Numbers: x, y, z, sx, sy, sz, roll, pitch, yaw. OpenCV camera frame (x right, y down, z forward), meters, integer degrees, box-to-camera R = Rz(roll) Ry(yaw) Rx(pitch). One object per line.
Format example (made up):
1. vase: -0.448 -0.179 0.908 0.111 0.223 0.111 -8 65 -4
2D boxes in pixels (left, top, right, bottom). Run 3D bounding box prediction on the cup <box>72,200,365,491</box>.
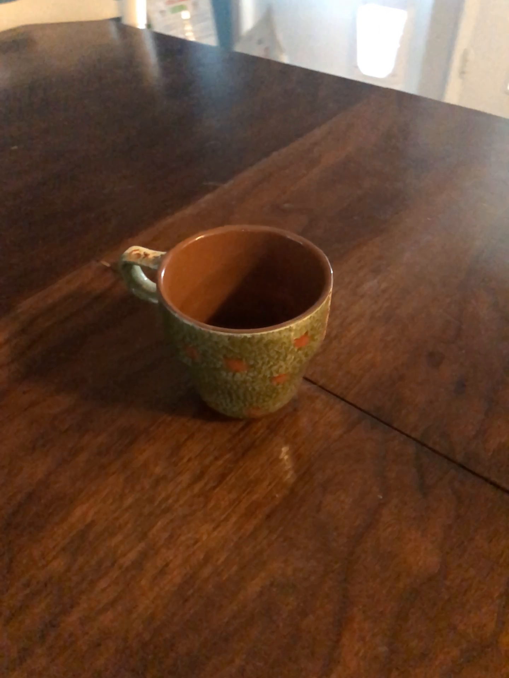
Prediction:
1. cup: -0.017 0.000 0.352 0.130 0.110 0.100 19 47 20
